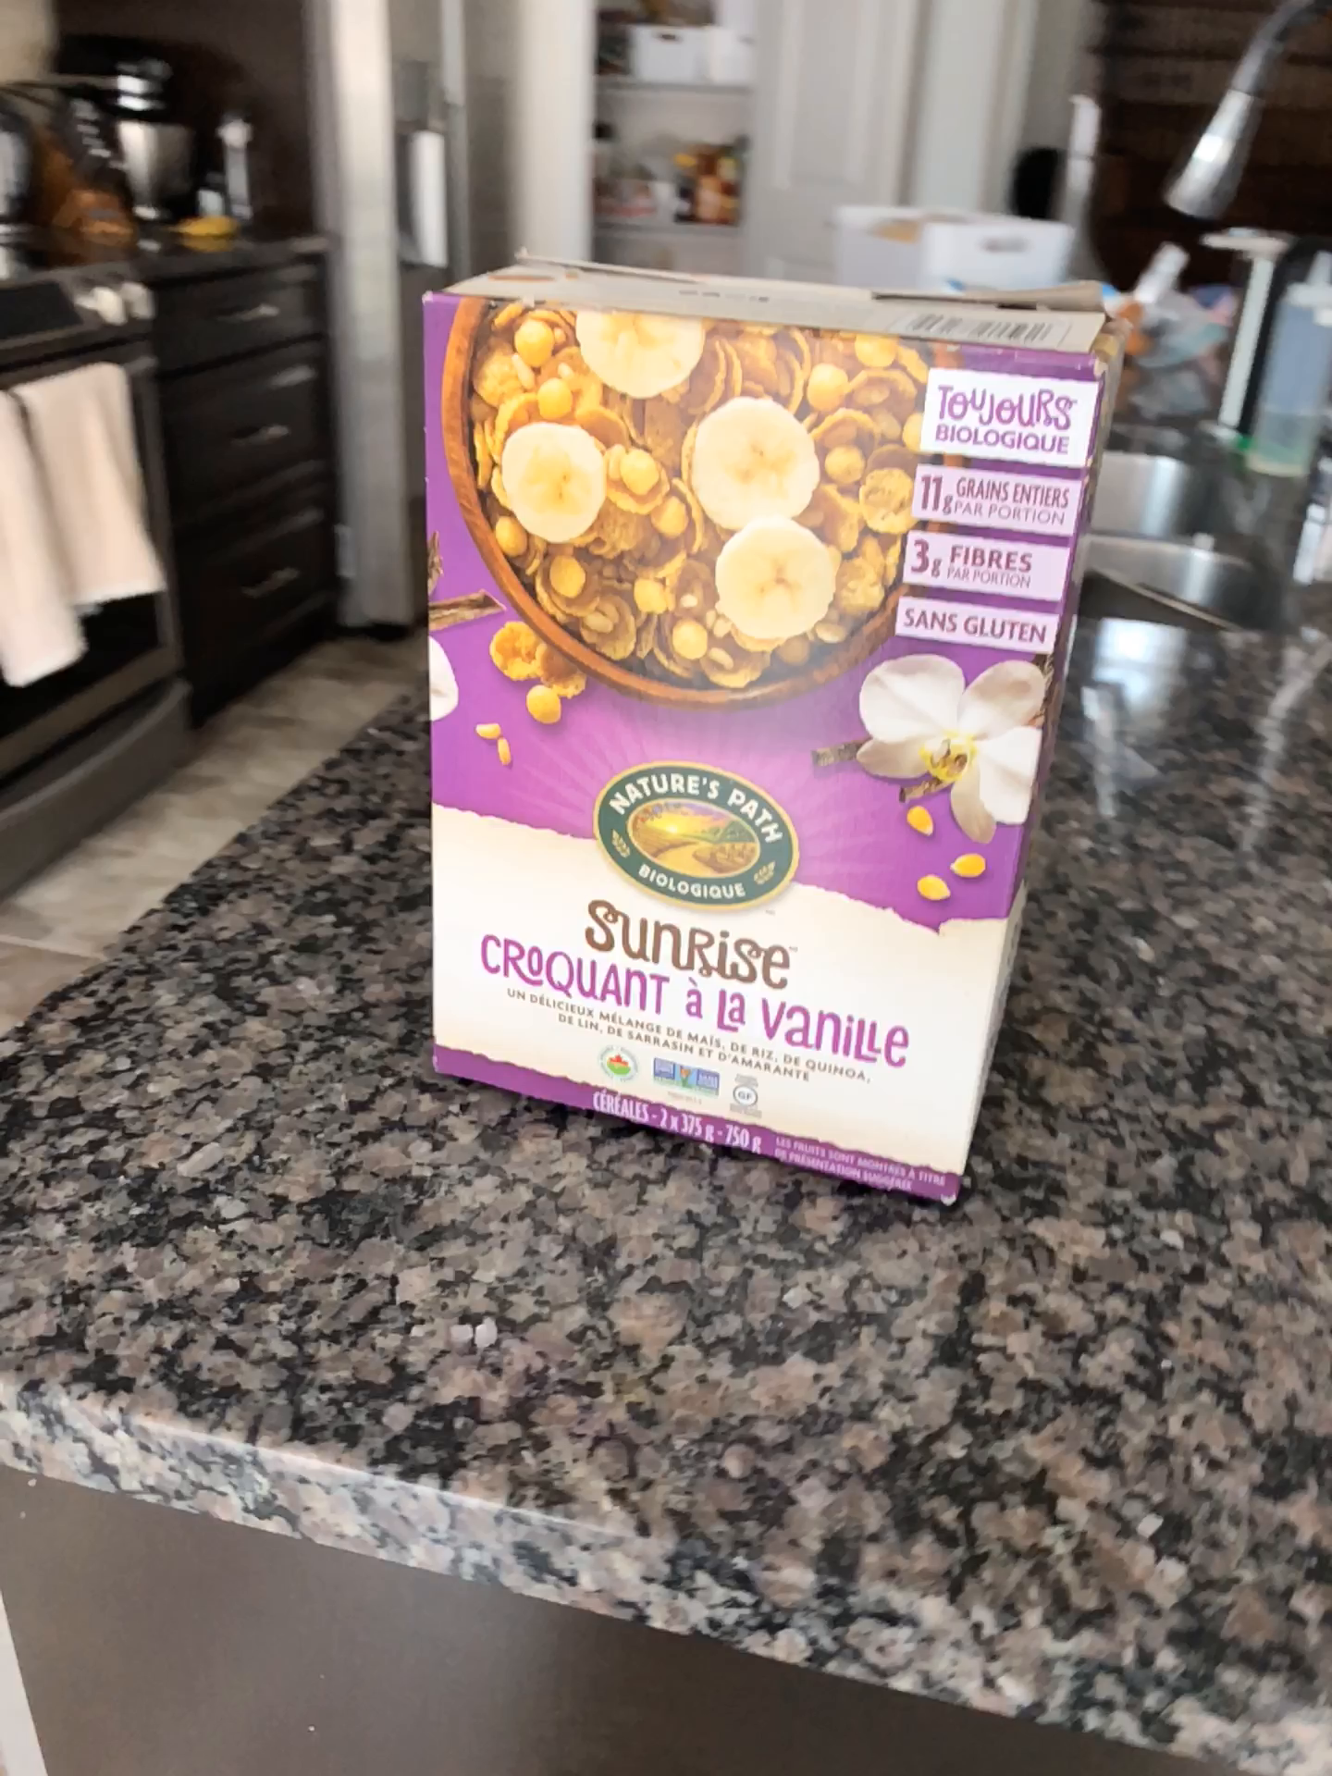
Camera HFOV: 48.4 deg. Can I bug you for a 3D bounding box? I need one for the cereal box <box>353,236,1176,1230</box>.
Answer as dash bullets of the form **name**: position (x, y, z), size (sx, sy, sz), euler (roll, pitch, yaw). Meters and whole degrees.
- **cereal box**: position (0.026, -0.050, 0.418), size (0.180, 0.229, 0.110), euler (11, 28, 16)
